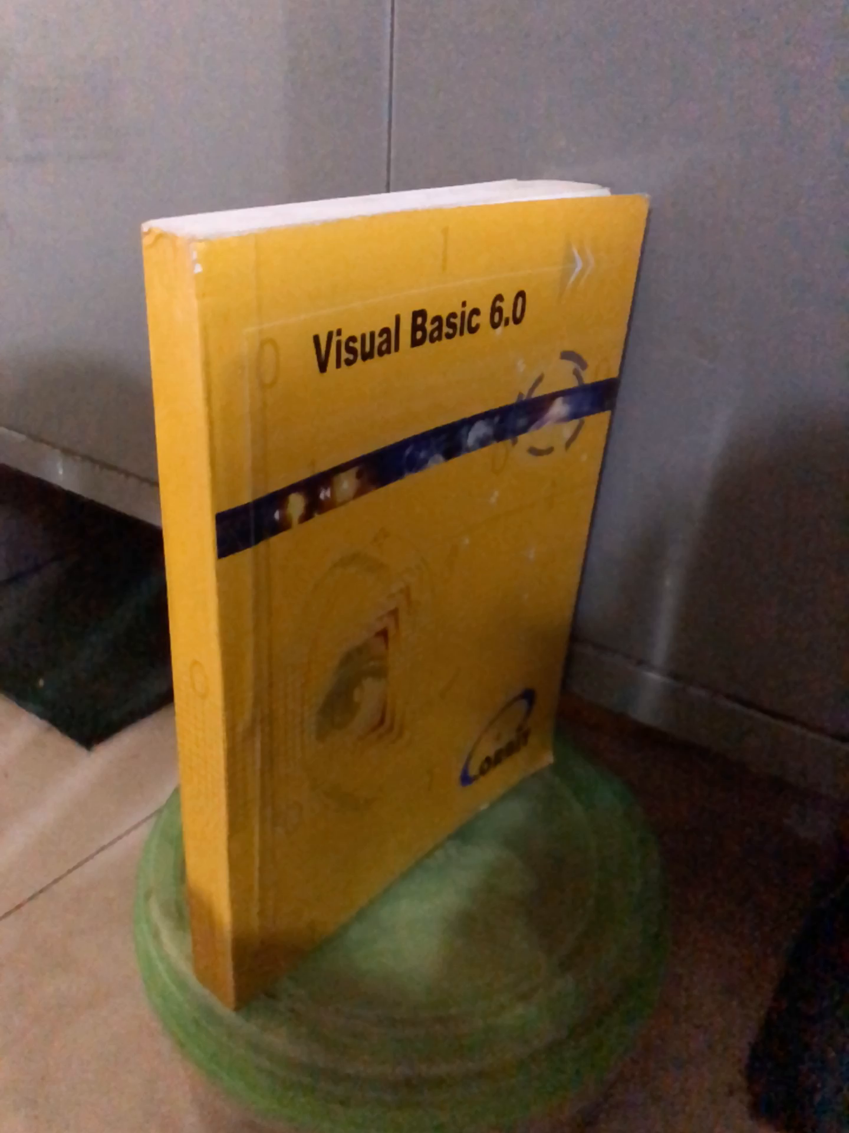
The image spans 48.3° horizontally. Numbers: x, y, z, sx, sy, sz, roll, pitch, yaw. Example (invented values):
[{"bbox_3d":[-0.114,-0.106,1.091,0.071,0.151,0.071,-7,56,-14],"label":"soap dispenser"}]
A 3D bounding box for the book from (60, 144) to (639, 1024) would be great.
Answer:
[{"bbox_3d":[-0.009,-0.003,0.362,0.040,0.279,0.221,23,34,33],"label":"book"}]
